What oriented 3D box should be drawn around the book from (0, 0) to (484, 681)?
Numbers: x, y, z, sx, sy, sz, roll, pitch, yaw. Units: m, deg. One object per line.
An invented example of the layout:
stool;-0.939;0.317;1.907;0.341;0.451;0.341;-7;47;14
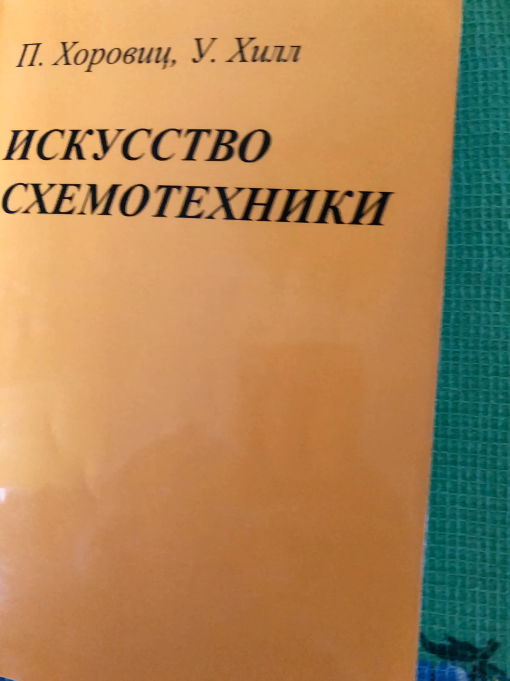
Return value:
book;-0.020;-0.003;0.212;0.180;0.050;0.260;4;83;9
